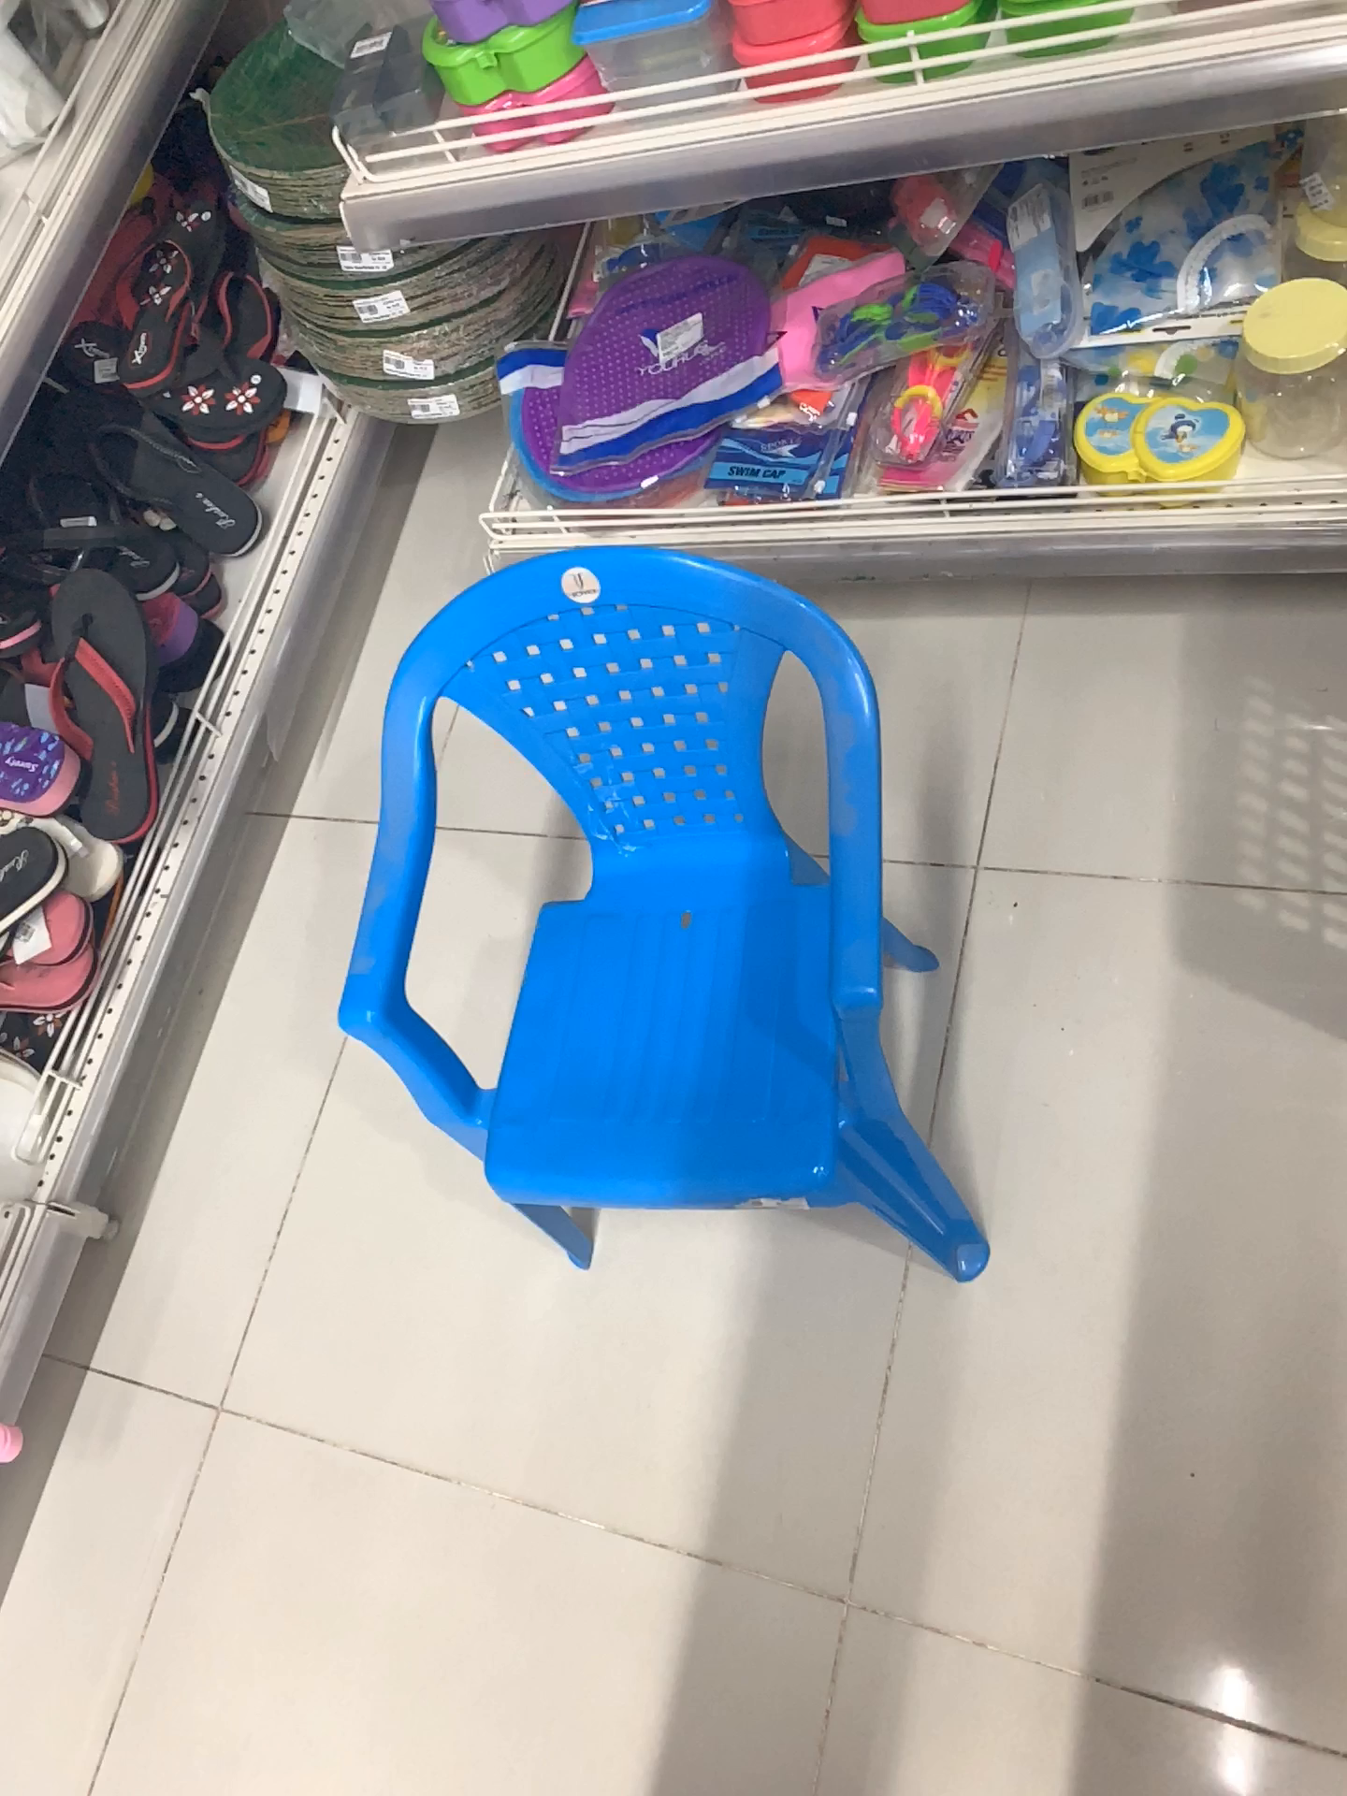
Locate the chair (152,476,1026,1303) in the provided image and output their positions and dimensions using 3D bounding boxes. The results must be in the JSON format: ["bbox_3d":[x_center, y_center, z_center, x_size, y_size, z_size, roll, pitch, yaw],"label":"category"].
[{"bbox_3d":[0.008,0.048,0.966,0.401,0.508,0.360,-3,65,22],"label":"chair"}]
